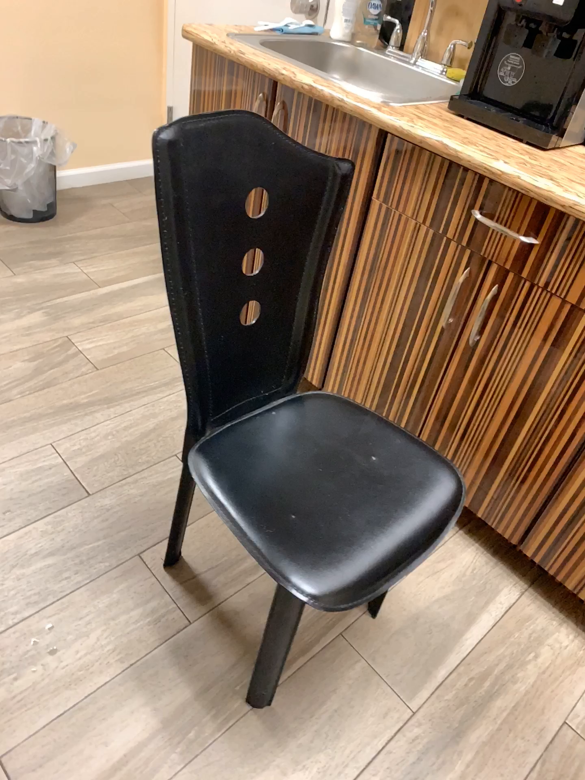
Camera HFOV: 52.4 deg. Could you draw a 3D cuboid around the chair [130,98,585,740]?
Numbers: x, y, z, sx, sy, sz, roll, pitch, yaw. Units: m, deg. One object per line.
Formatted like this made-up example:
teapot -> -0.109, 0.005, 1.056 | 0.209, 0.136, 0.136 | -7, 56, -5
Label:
chair -> 0.048, 0.072, 1.050 | 0.463, 0.941, 0.474 | -24, 51, -36
